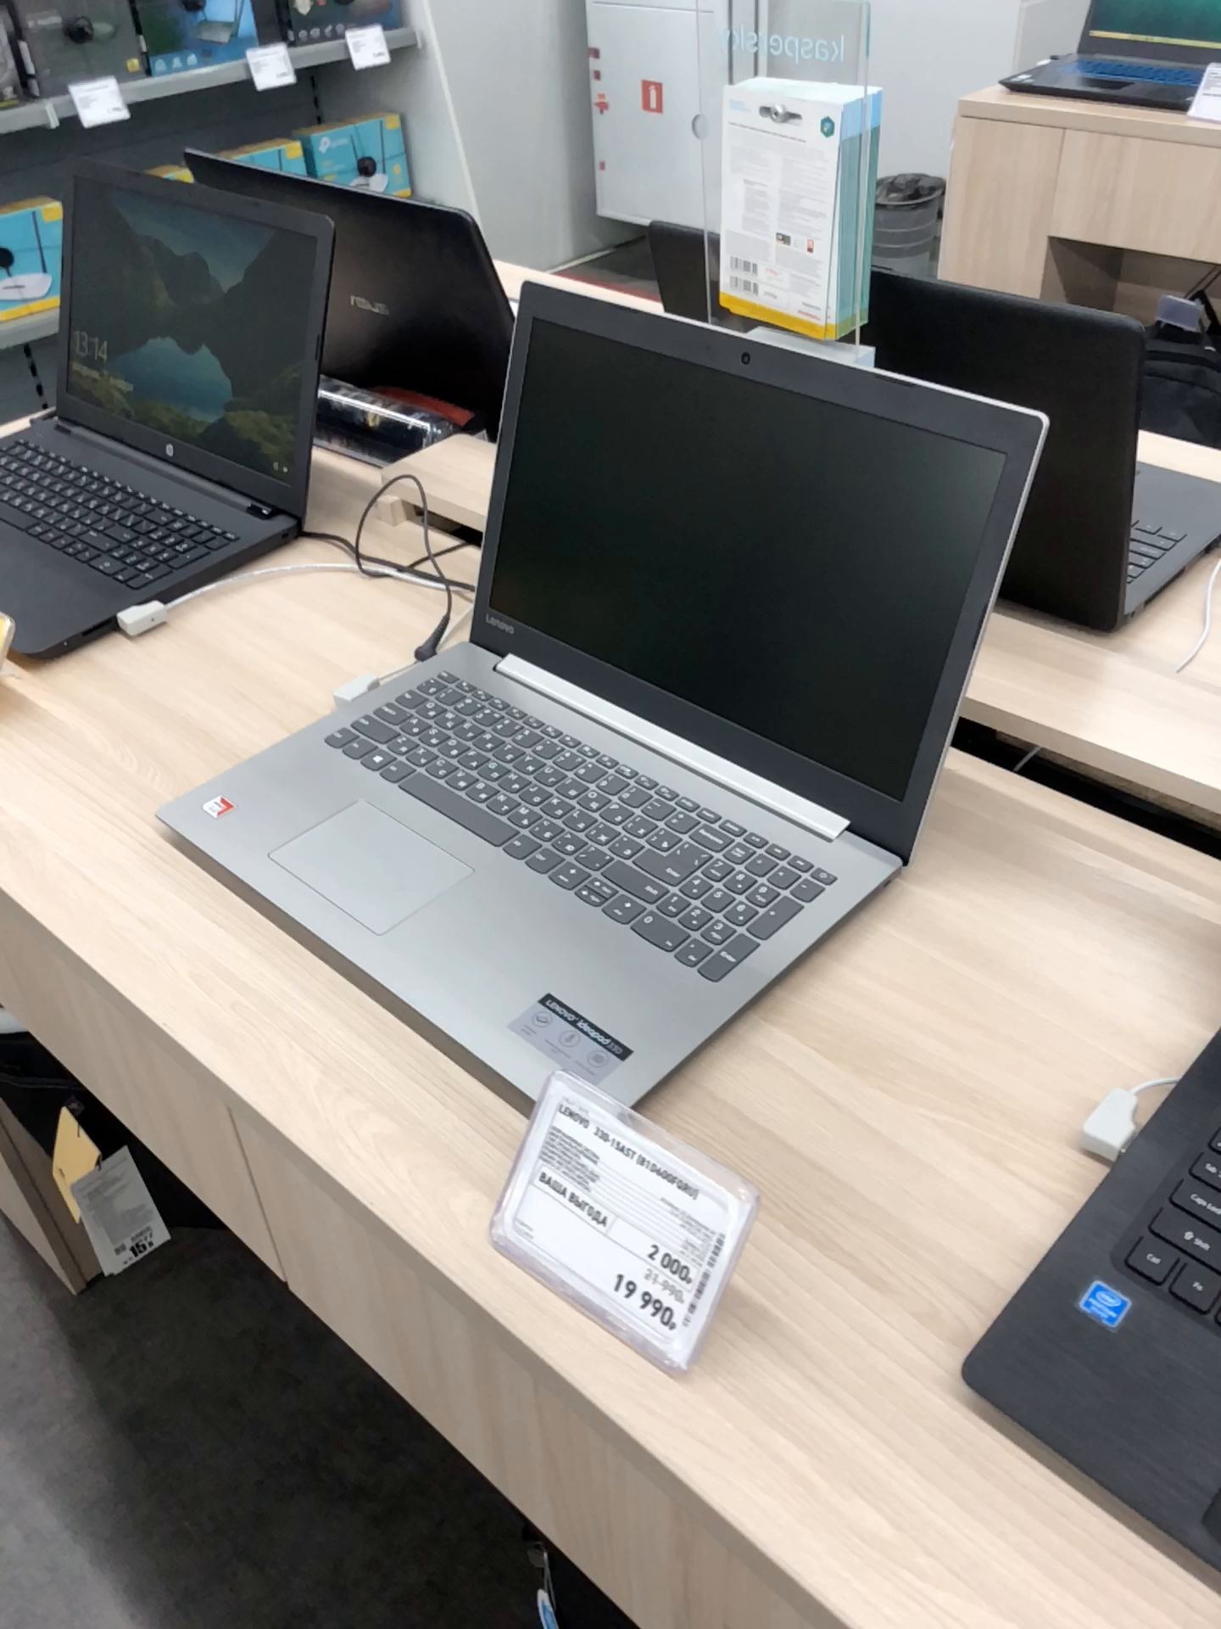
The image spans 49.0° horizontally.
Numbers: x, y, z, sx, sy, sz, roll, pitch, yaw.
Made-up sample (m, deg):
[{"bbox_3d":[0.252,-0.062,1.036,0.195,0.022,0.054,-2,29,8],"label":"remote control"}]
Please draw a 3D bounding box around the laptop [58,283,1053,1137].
[{"bbox_3d":[-0.028,-0.101,0.759,0.381,0.235,0.344,29,49,35],"label":"laptop"}]
